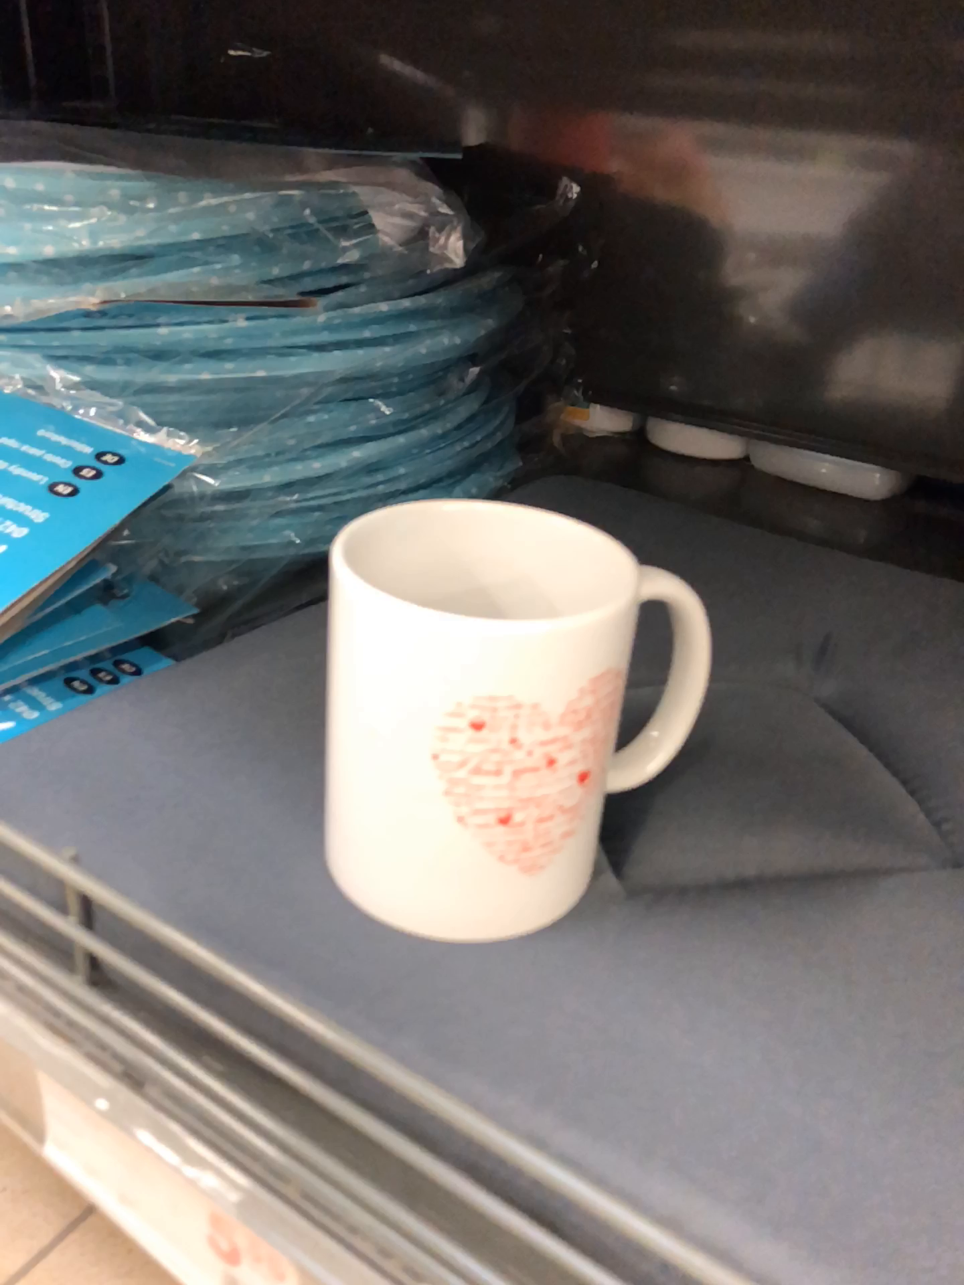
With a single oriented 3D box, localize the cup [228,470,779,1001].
[{"bbox_3d":[0.000,0.017,0.303,0.120,0.099,0.090,-10,30,-24],"label":"cup"}]
